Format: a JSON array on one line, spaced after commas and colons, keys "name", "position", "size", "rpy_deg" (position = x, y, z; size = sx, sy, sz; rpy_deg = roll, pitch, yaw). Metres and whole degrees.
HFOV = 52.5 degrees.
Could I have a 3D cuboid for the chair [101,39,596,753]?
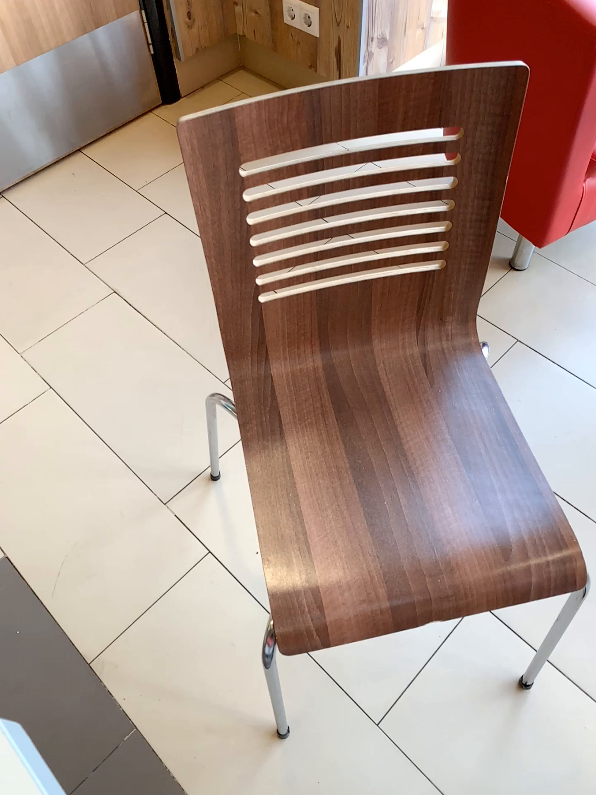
[{"name": "chair", "position": [0.114, 0.082, 0.860], "size": [0.544, 0.795, 0.594], "rpy_deg": [-9, 56, -4]}]
